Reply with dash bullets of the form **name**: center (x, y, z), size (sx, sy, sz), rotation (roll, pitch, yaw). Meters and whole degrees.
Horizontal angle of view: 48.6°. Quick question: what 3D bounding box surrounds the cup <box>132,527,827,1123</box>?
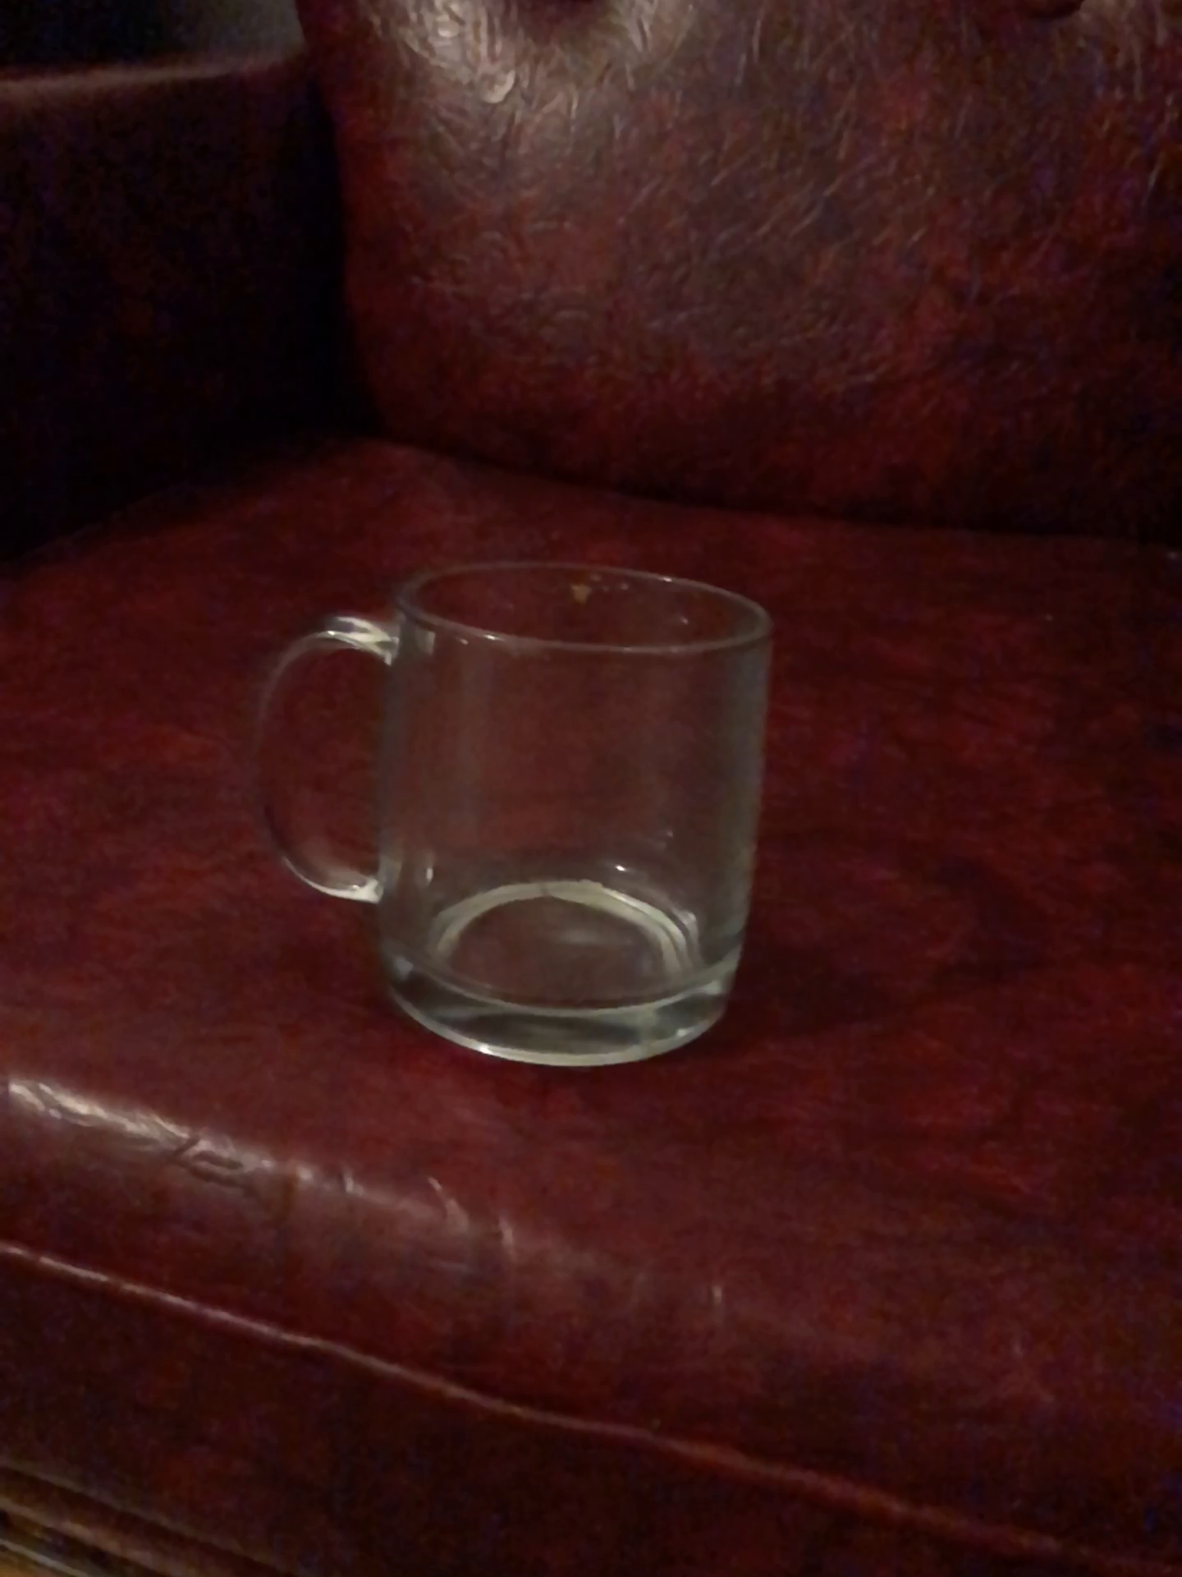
- **cup**: center (-0.020, 0.000, 0.296), size (0.128, 0.089, 0.091), rotation (9, 21, 10)
